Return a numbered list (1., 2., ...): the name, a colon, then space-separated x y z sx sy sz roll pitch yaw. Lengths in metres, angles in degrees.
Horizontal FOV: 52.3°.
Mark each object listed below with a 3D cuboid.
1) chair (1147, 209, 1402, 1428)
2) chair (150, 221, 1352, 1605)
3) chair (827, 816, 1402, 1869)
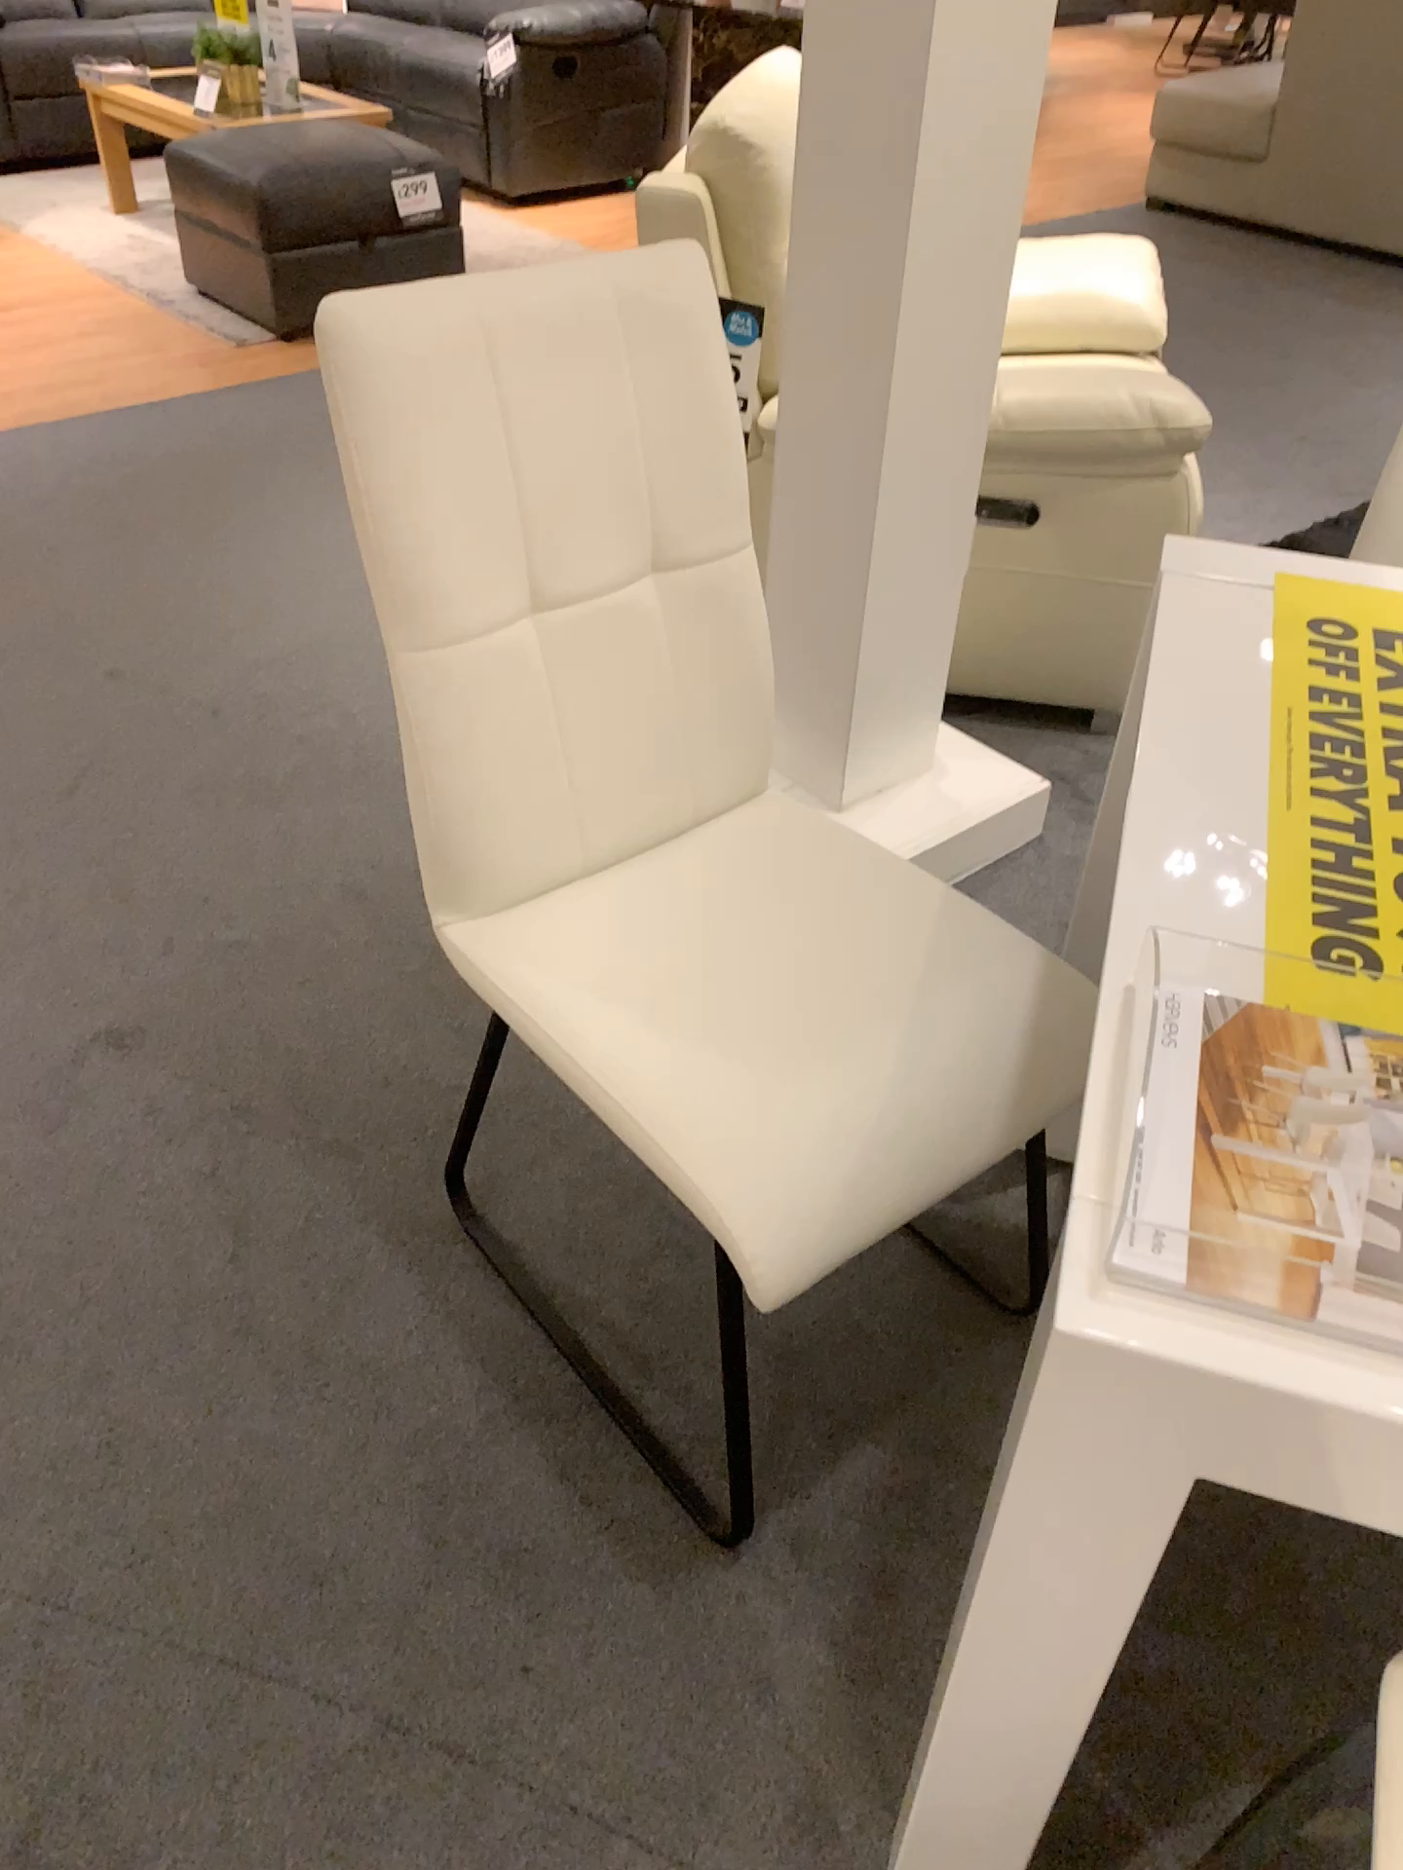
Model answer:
1. chair: 0.807 -0.115 1.385 0.520 0.901 0.646 10 39 9
2. chair: -0.002 -0.044 1.250 0.542 0.881 0.634 -26 47 -31
3. chair: 0.435 0.544 0.512 0.551 0.881 0.605 15 40 15
